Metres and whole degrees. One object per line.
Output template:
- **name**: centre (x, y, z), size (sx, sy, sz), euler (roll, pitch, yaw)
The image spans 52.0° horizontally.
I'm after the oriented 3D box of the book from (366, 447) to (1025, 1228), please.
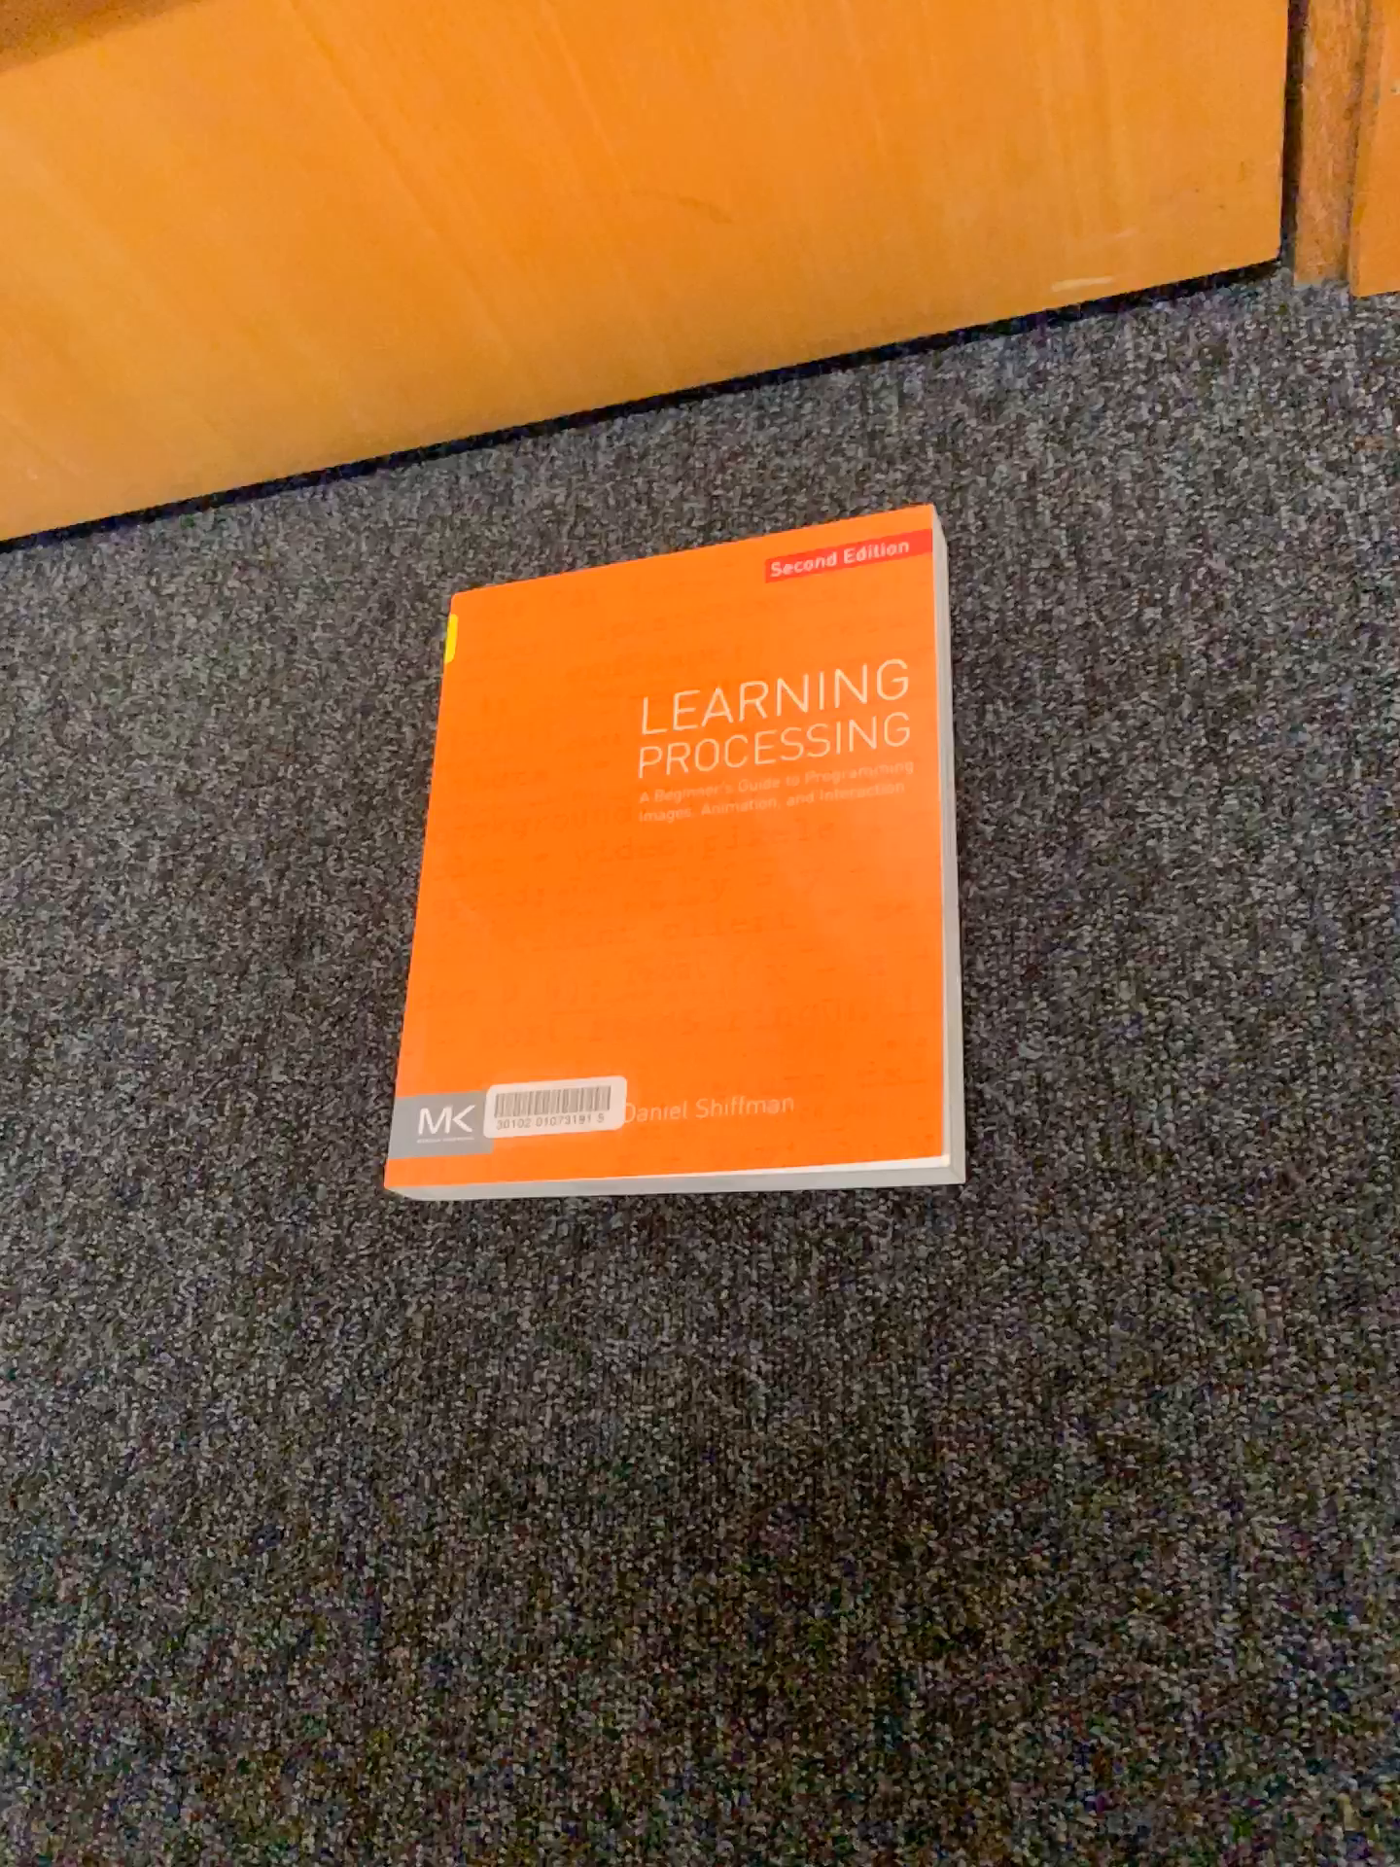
- **book**: centre (-0.001, -0.033, 0.508), size (0.210, 0.040, 0.261), euler (-6, 68, 19)
